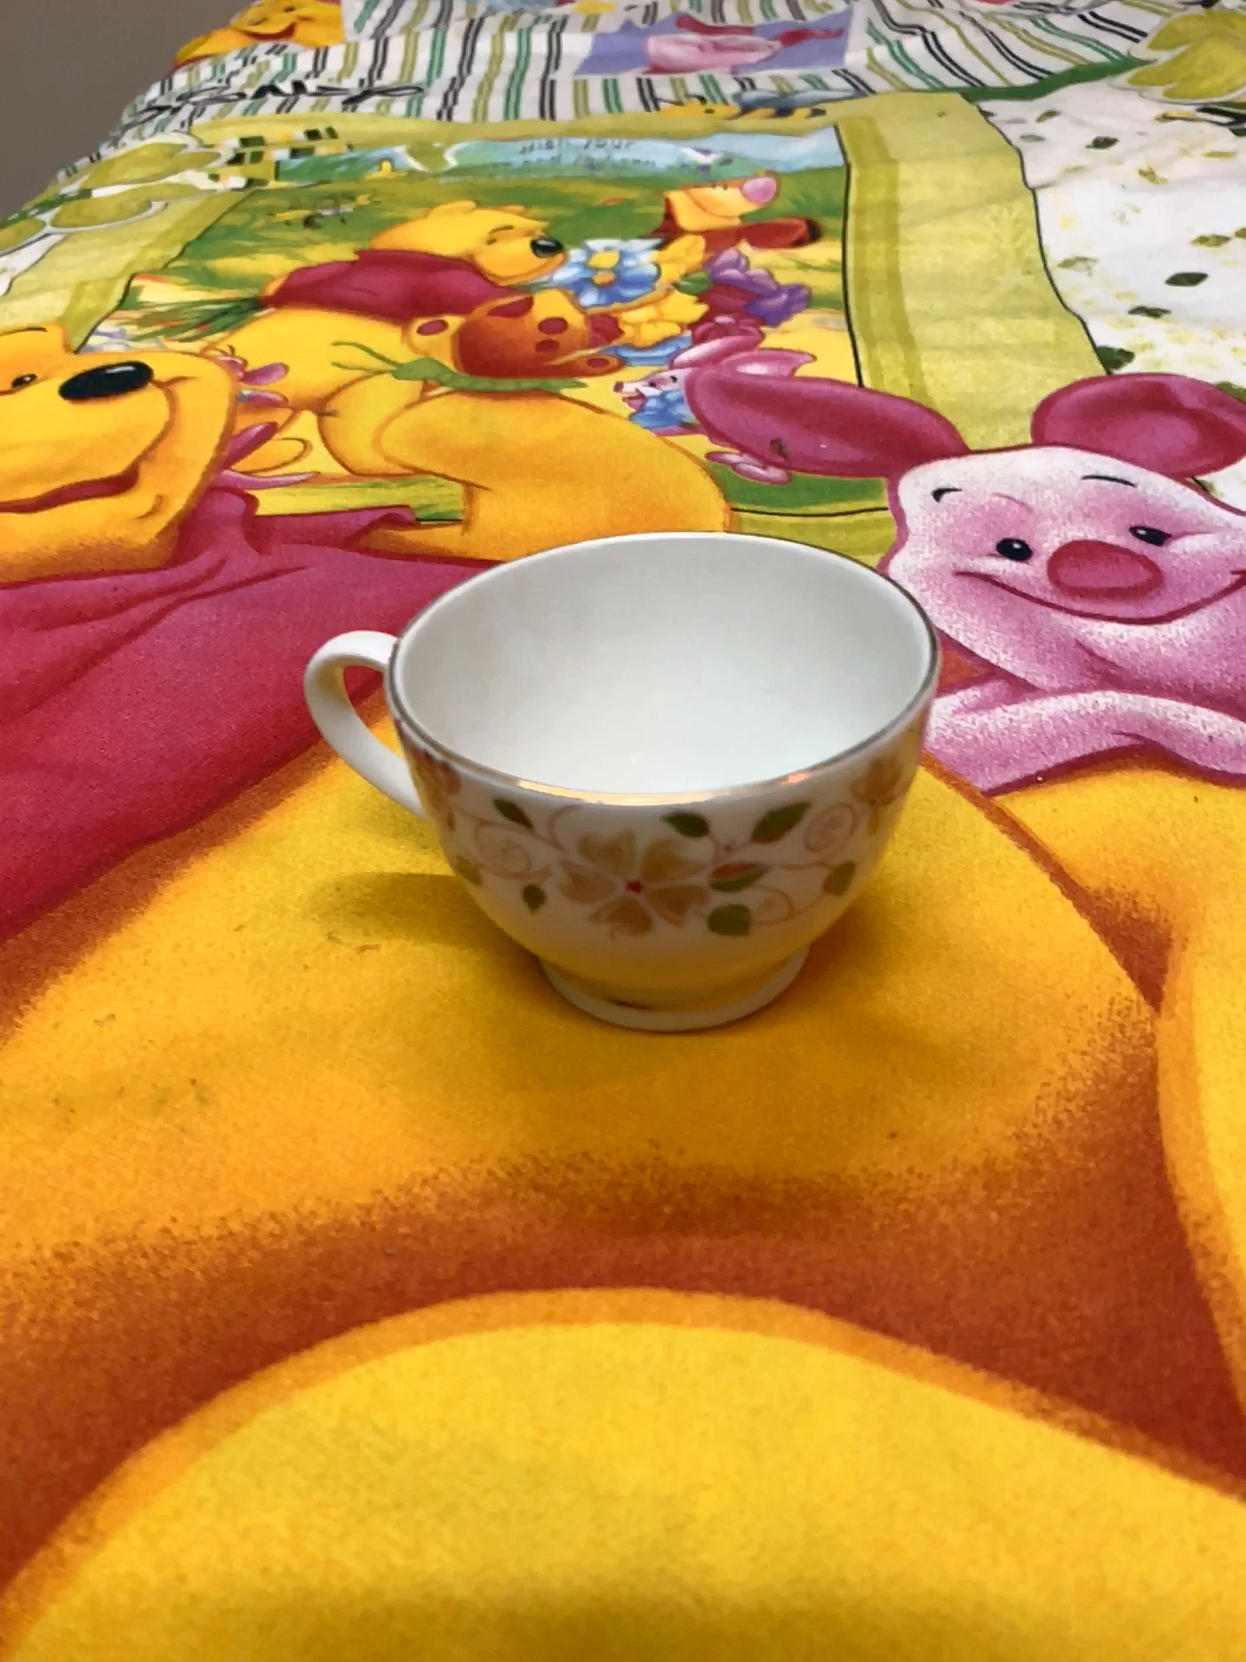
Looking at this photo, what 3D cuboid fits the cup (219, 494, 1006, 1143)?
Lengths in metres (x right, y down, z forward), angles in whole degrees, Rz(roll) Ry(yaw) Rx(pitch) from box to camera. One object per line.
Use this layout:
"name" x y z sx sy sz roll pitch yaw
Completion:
"cup" 0.005 -0.009 0.217 0.100 0.059 0.081 8 40 20
